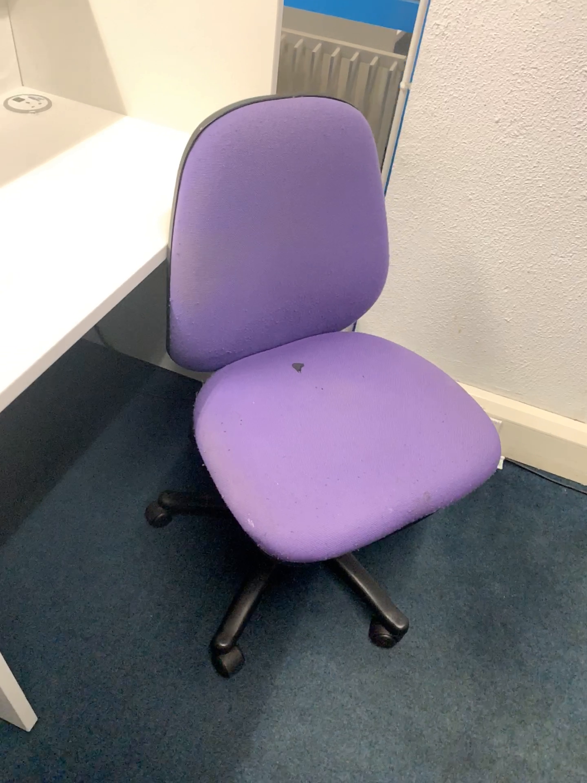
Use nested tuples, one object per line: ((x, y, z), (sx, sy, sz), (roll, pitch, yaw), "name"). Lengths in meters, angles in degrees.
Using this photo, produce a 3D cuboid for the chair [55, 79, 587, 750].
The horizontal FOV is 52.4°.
((0.074, 0.019, 1.099), (0.692, 0.862, 0.654), (-18, 50, -25), "chair")
